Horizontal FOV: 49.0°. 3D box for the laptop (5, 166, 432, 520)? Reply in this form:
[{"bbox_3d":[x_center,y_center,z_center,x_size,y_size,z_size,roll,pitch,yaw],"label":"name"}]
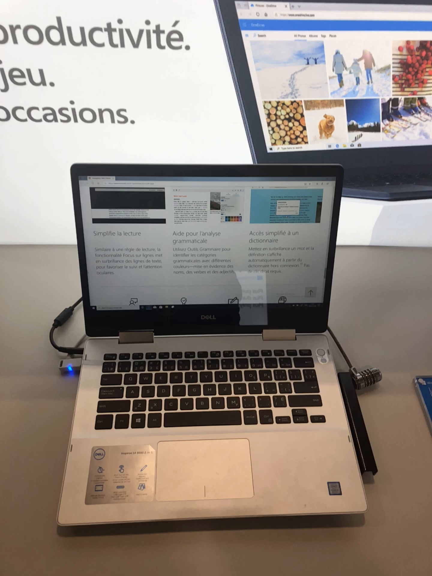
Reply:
[{"bbox_3d":[-0.004,0.045,0.531,0.316,0.193,0.338,-1,49,-3],"label":"laptop"}]
